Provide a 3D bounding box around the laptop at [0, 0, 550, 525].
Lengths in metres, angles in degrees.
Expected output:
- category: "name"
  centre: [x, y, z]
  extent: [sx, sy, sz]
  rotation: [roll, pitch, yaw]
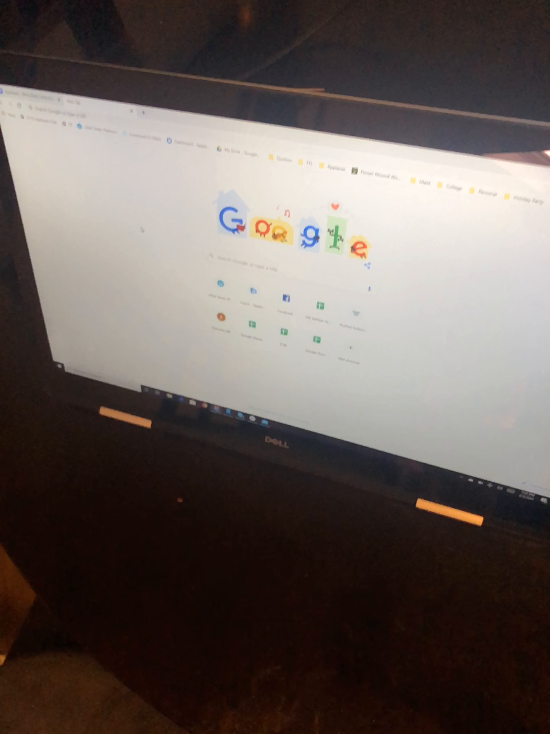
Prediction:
- category: "laptop"
  centre: [0.030, -0.100, 0.411]
  extent: [0.419, 0.233, 0.267]
  rotation: [15, 72, 15]
